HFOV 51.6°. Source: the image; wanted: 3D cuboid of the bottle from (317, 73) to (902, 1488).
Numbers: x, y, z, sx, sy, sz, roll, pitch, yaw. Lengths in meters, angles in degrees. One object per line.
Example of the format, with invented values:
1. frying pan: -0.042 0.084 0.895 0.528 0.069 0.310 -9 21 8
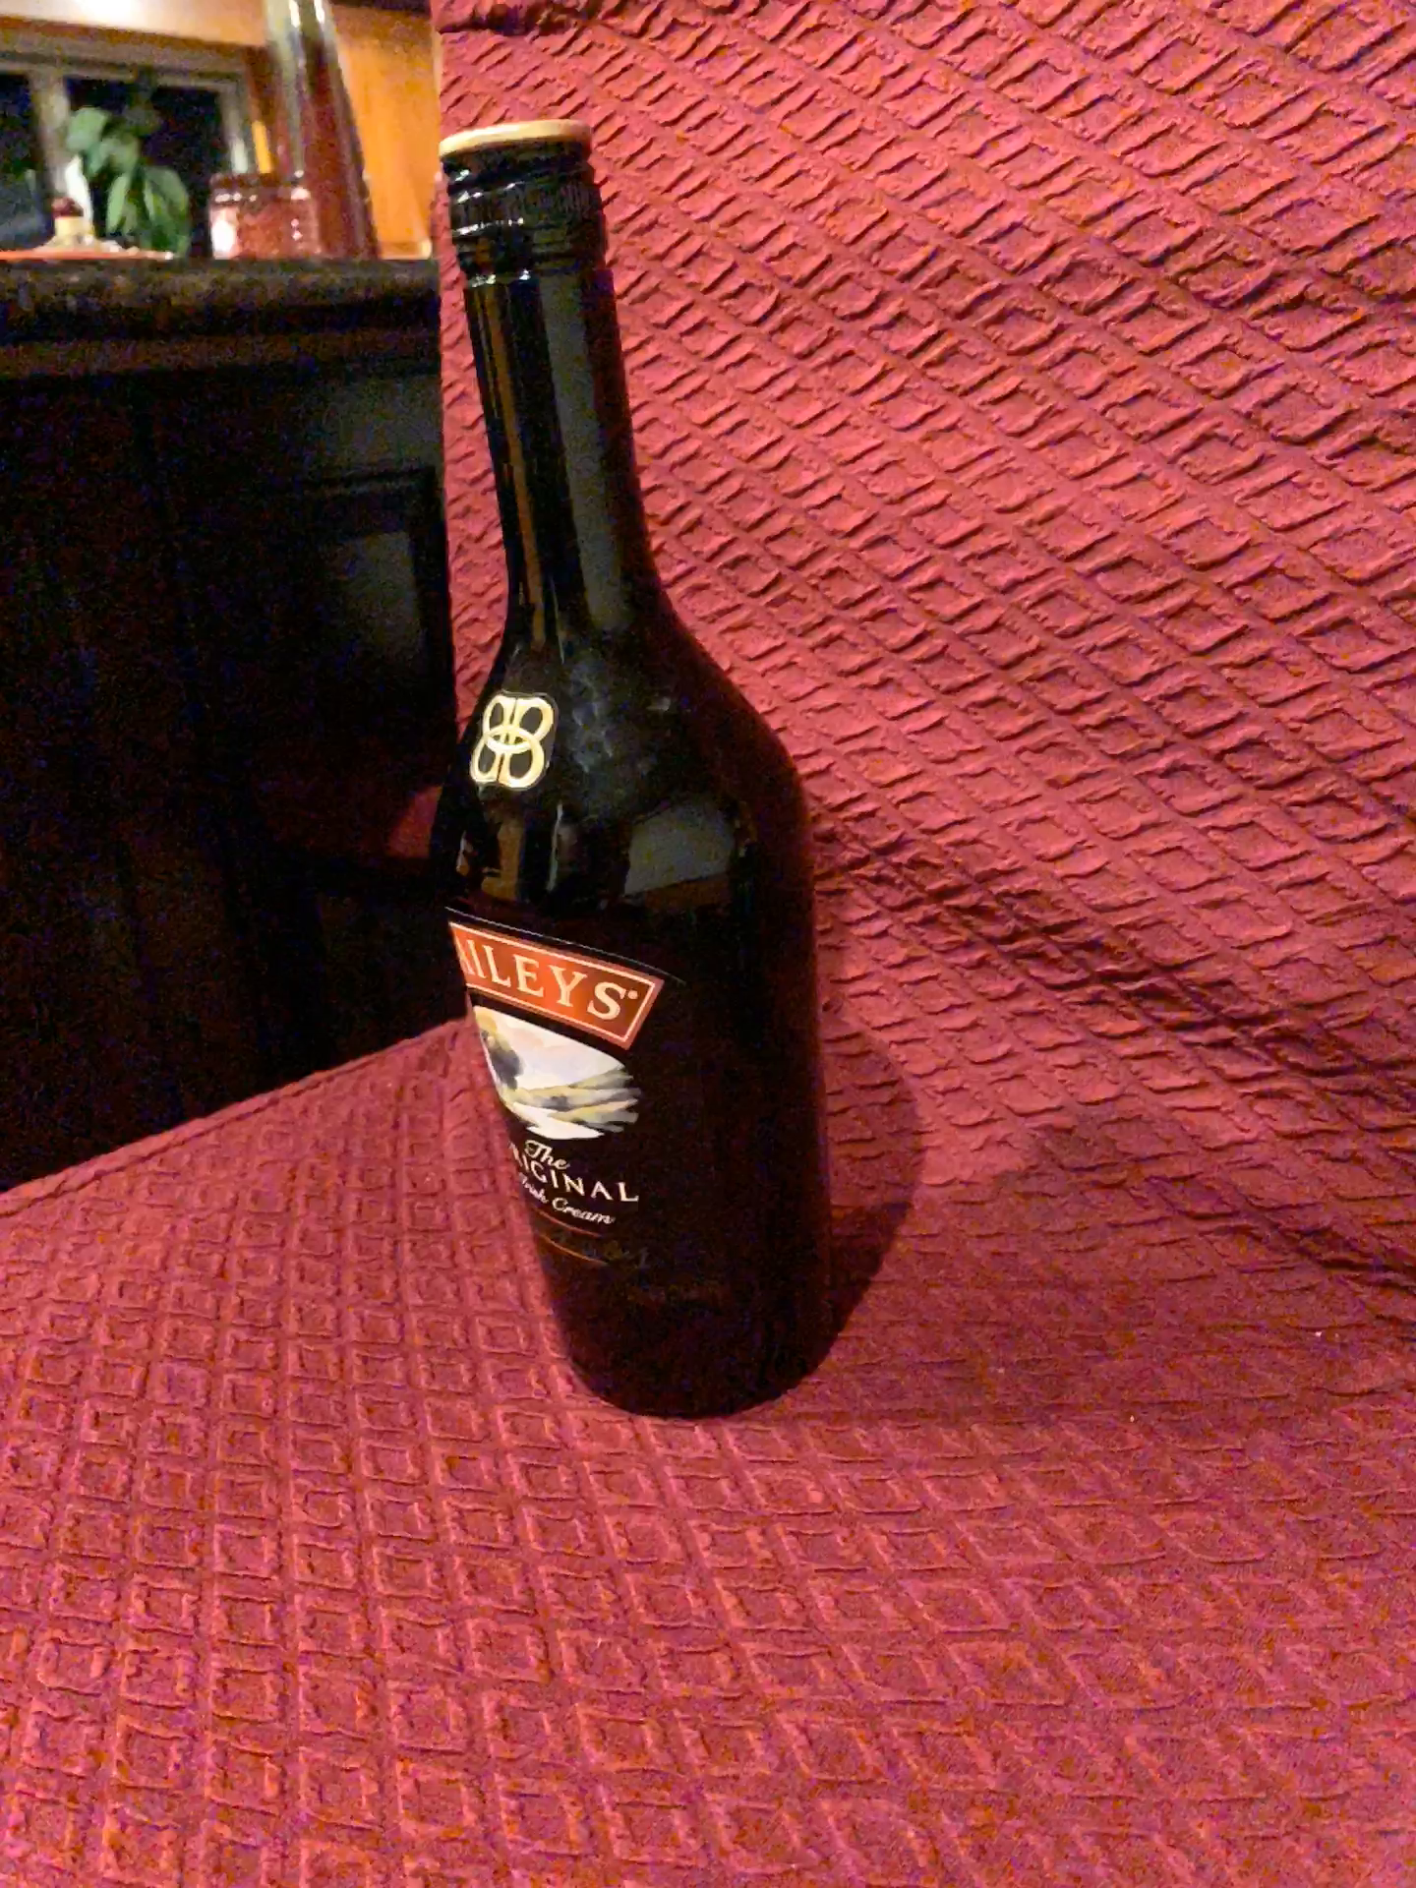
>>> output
1. bottle: -0.014 -0.027 0.341 0.080 0.289 0.070 13 27 41
